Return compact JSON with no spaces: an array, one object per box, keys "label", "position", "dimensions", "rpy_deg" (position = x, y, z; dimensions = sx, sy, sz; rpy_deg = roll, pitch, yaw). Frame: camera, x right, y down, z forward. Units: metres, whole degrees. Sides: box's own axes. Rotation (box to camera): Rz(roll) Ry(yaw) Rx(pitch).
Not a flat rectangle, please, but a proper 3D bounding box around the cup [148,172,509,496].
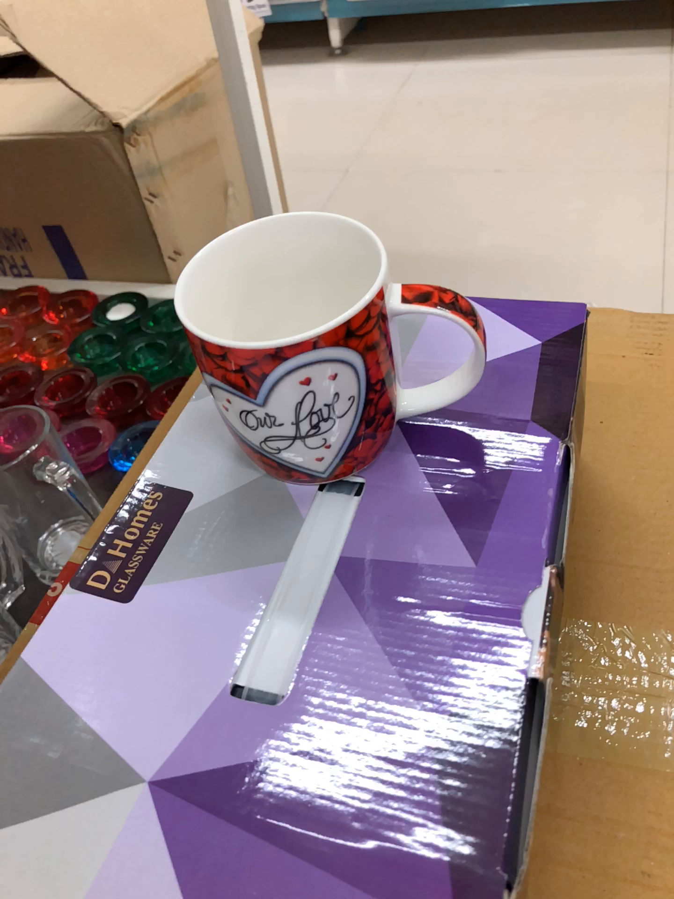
[{"label":"cup","position":[0.005,-0.048,0.330],"dimensions":[0.130,0.099,0.091],"rpy_deg":[-3,44,9]}]
